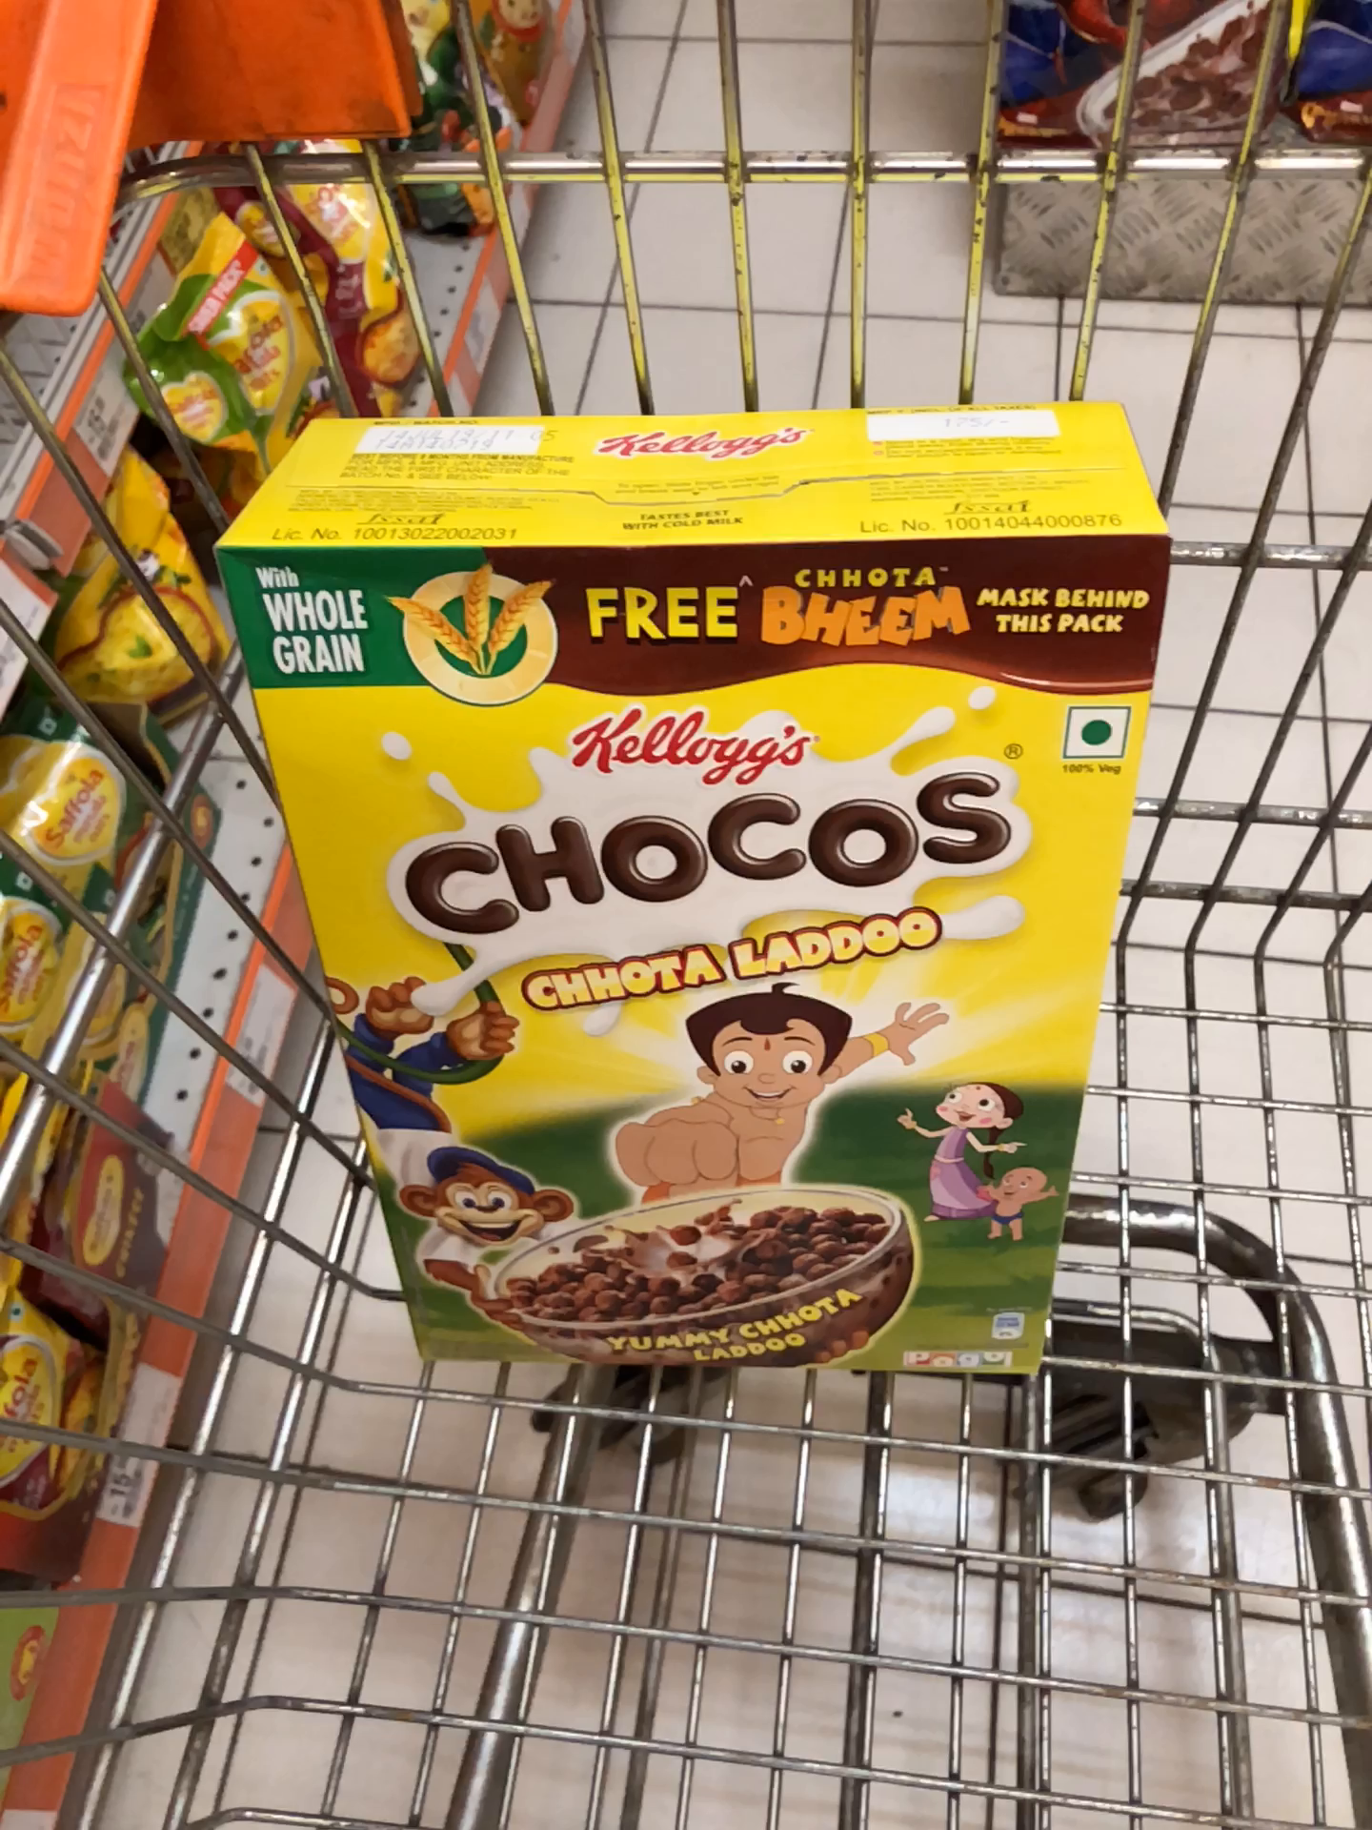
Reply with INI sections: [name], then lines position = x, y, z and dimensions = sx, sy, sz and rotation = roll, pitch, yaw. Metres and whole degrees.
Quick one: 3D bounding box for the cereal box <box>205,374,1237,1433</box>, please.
[cereal box]
position = 0.013, 0.011, 0.369
dimensions = 0.180, 0.249, 0.080
rotation = 0, 35, 5
